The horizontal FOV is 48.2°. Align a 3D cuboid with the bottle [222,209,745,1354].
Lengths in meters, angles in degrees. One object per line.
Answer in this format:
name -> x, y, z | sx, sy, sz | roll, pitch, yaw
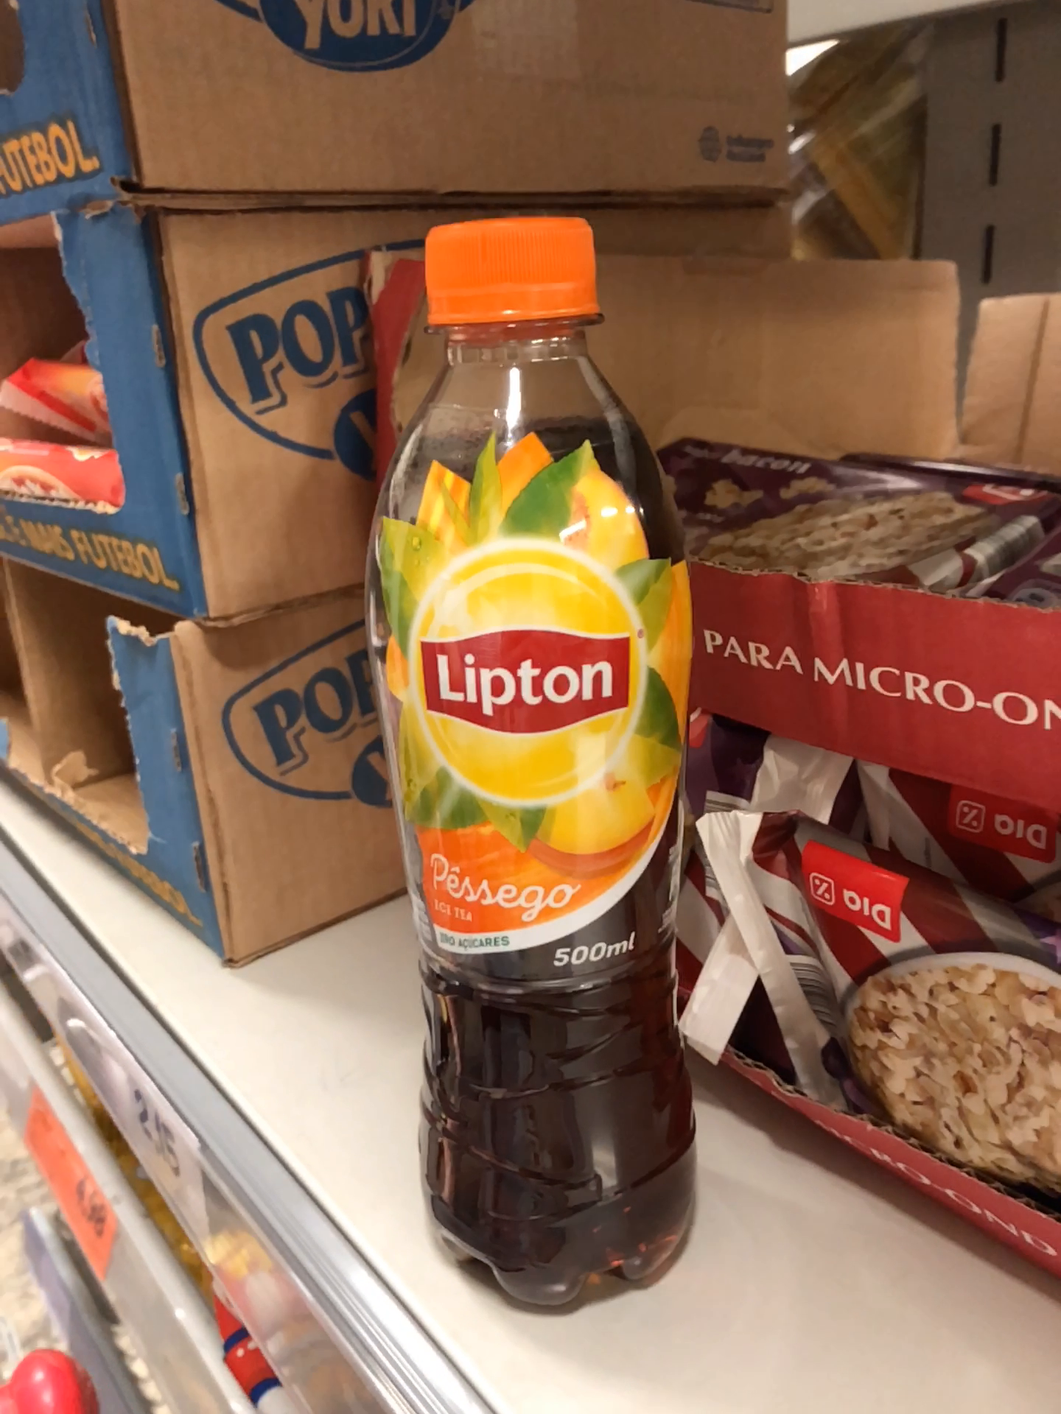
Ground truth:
bottle -> 0.002, 0.020, 0.241 | 0.070, 0.219, 0.070 | -5, 21, 2
